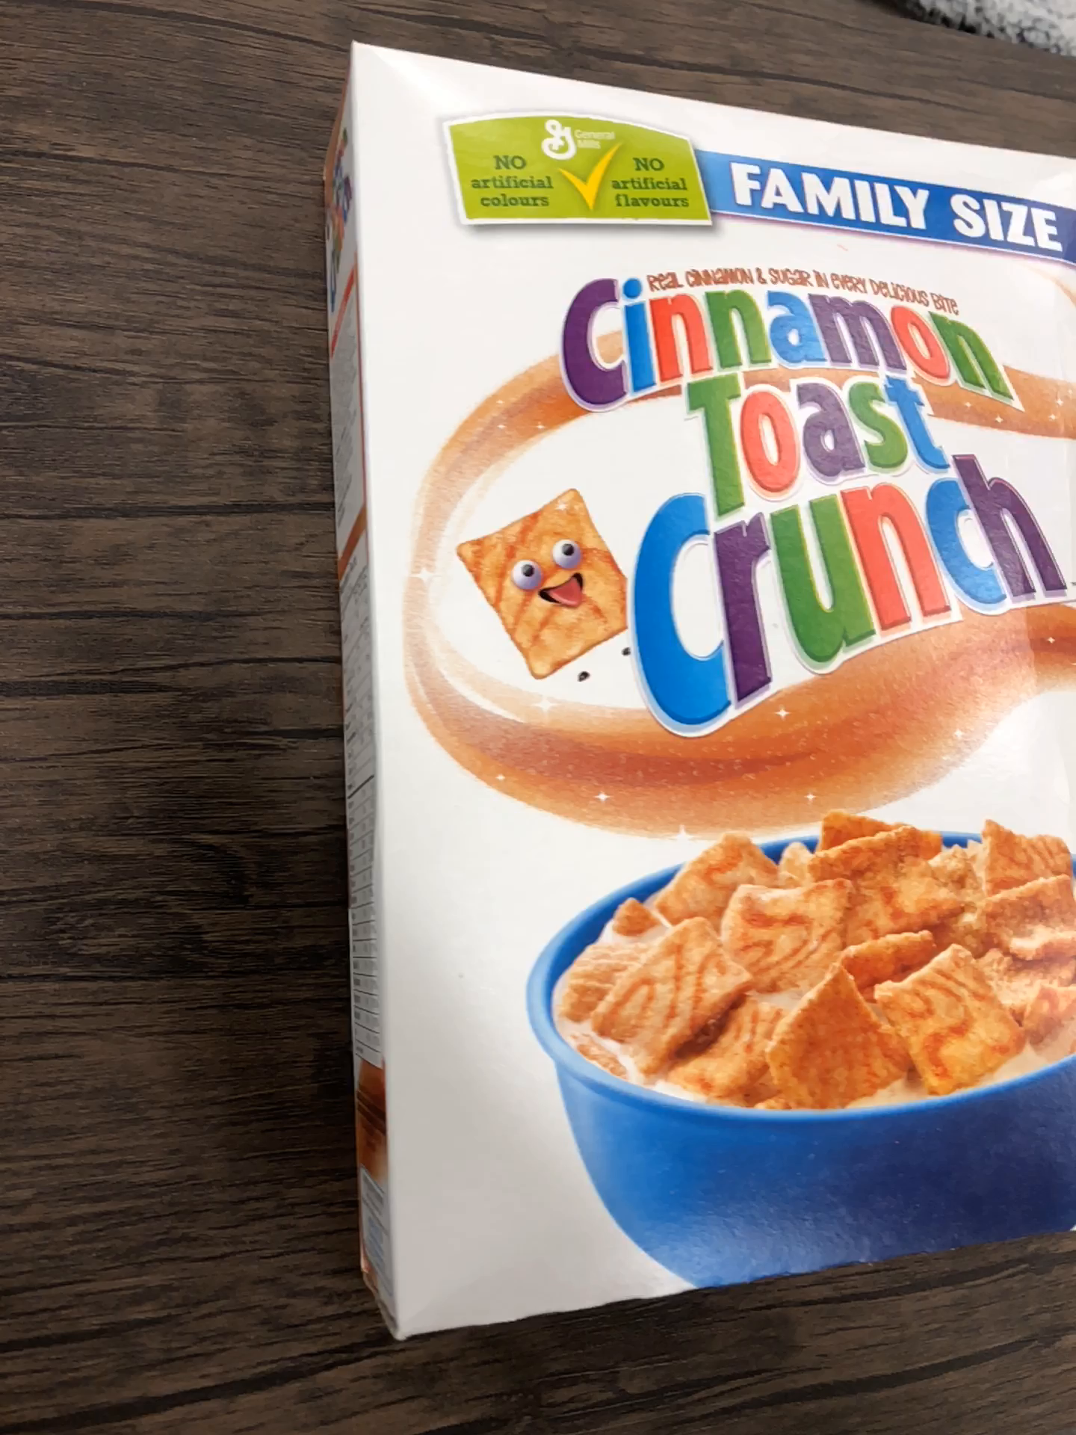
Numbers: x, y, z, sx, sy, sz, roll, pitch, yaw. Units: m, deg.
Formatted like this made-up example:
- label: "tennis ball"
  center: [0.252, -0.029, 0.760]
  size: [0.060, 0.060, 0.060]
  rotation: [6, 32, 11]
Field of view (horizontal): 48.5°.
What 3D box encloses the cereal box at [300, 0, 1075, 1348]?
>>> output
- label: "cereal box"
  center: [0.064, -0.035, 0.363]
  size: [0.250, 0.070, 0.360]
  rotation: [0, 78, -19]
